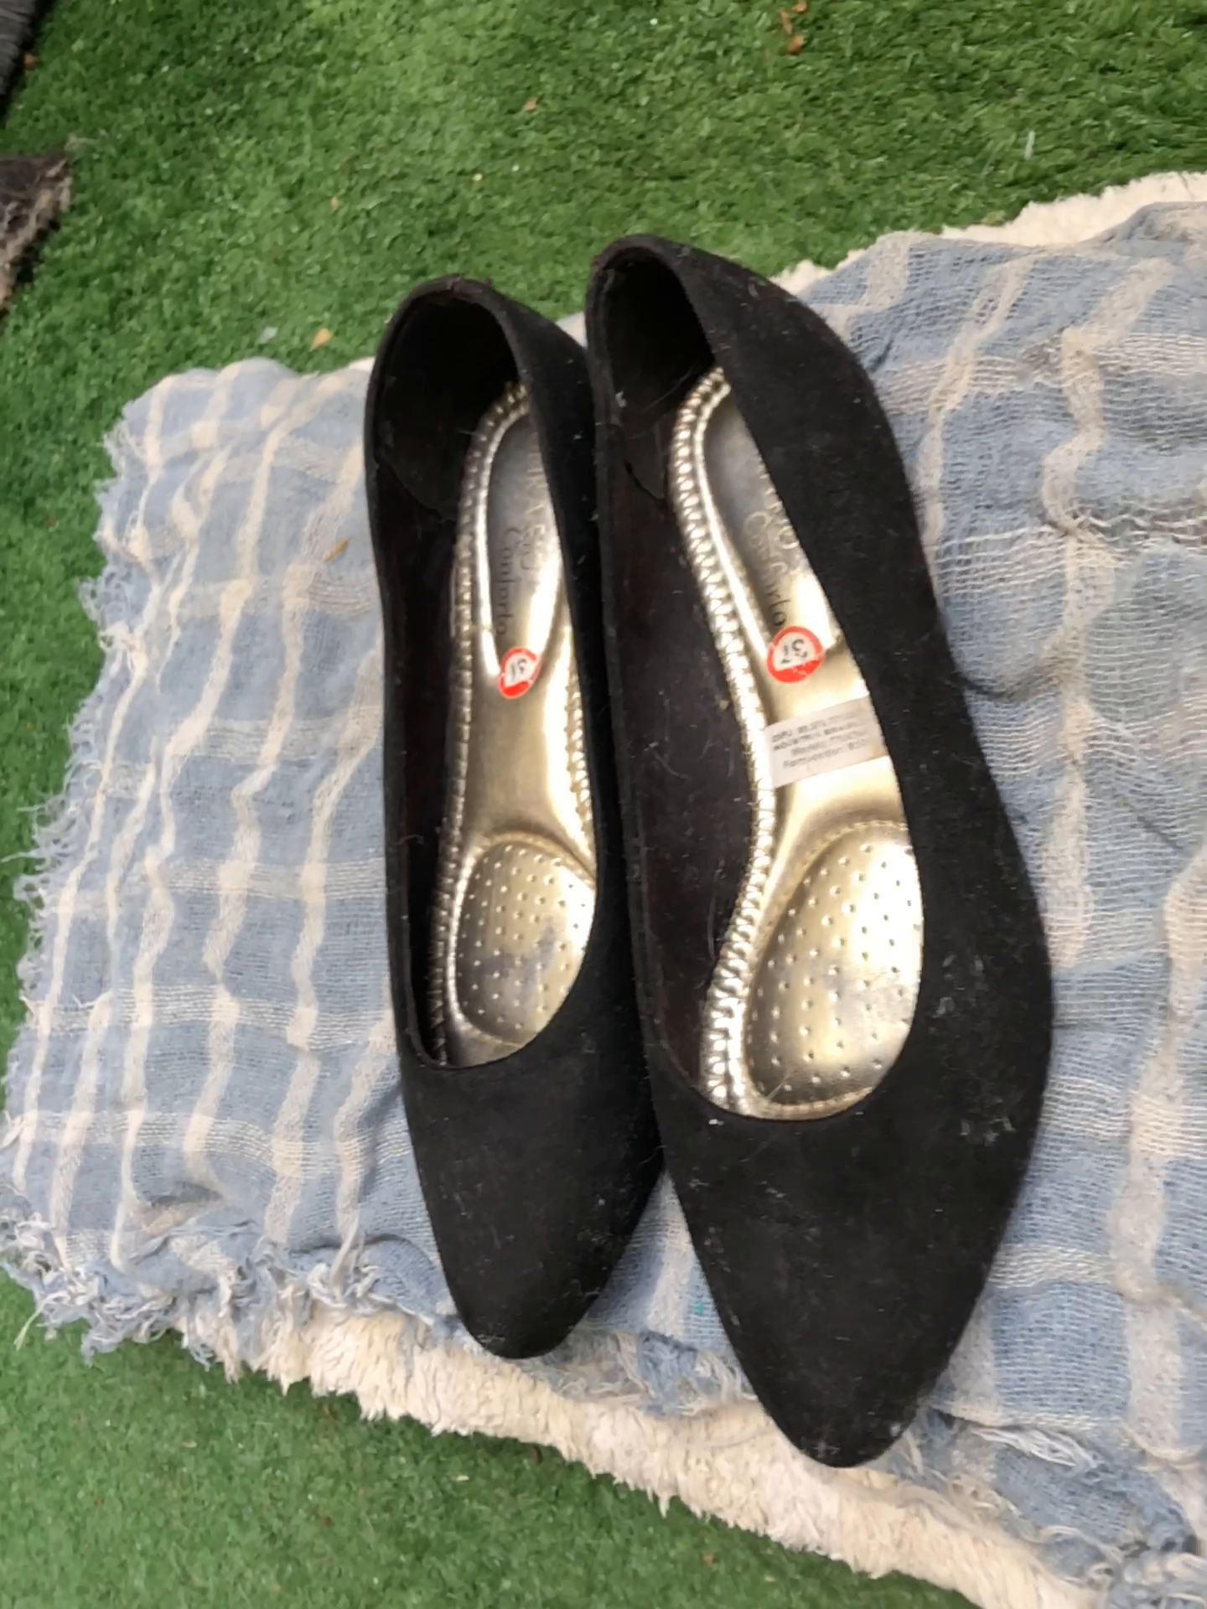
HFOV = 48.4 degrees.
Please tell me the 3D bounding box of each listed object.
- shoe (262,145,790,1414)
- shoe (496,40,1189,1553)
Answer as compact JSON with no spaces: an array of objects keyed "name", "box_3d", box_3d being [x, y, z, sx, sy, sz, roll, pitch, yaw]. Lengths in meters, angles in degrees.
[{"name":"shoe","box_3d":[-0.018,-0.006,0.335,0.090,0.080,0.270,-9,75,33]},{"name":"shoe","box_3d":[0.044,-0.005,0.287,0.090,0.080,0.270,-14,73,31]}]
